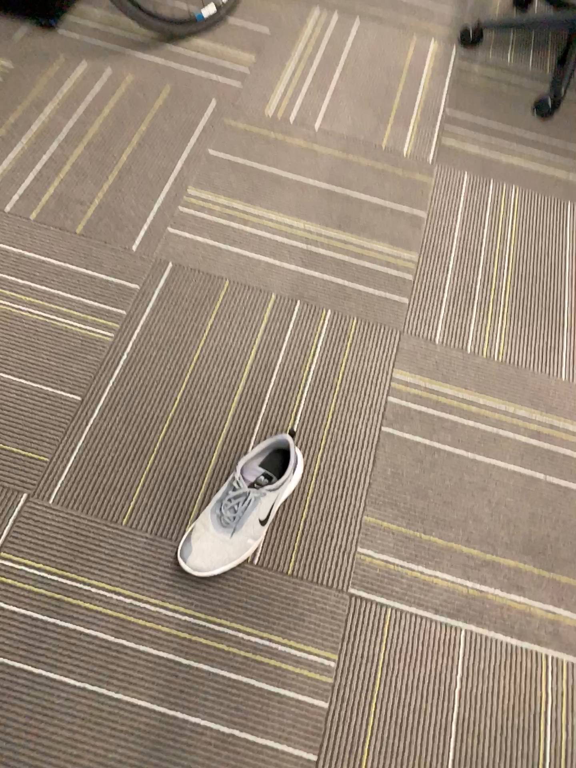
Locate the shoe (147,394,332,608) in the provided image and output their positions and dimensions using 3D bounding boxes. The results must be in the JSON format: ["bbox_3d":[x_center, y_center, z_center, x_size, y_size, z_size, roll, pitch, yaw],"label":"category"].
[{"bbox_3d":[-0.080,0.203,1.058,0.160,0.110,0.330,31,62,9],"label":"shoe"}]
